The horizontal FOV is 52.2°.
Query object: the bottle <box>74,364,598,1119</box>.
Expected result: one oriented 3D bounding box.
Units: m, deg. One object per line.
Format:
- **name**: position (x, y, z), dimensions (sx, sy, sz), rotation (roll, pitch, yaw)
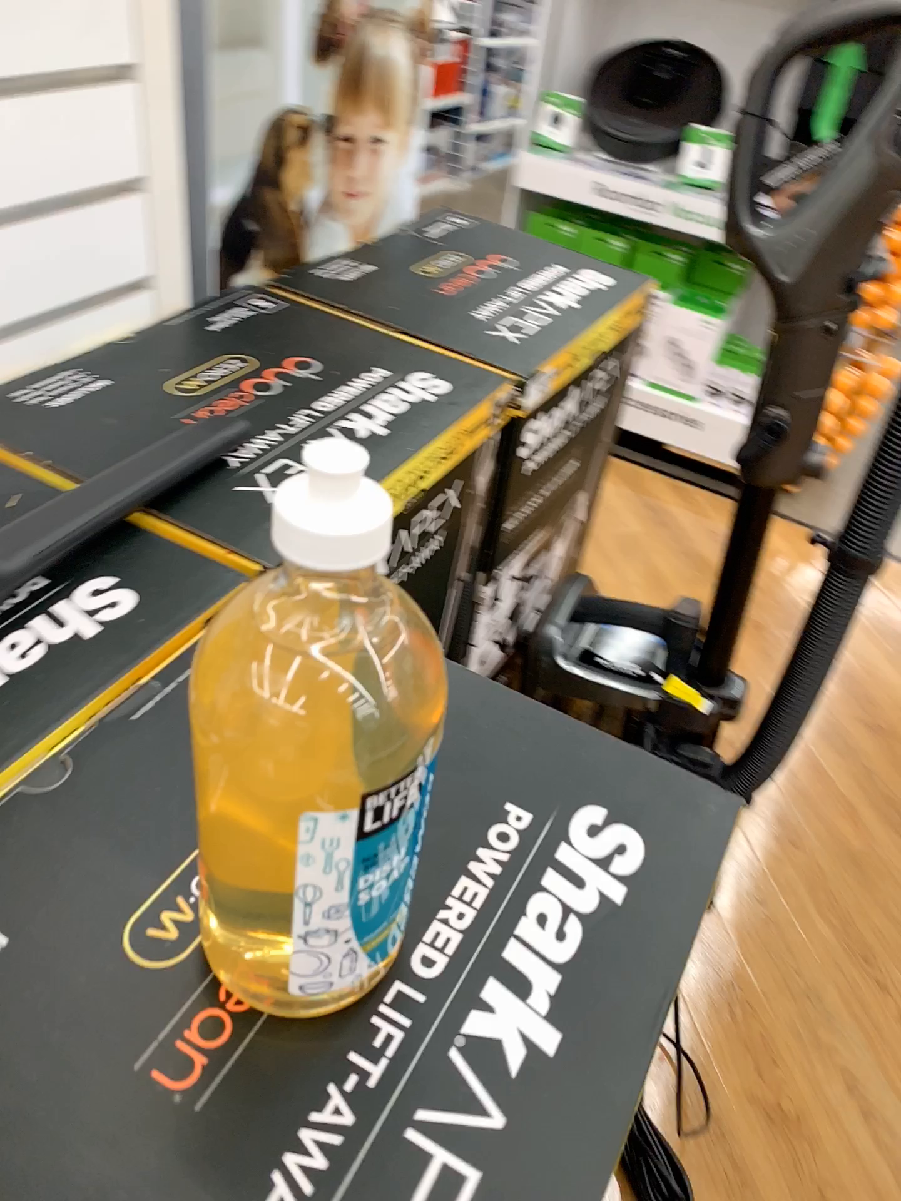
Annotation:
- **bottle**: position (-0.038, 0.051, 0.290), dimensions (0.090, 0.209, 0.090), rotation (5, 39, -4)
